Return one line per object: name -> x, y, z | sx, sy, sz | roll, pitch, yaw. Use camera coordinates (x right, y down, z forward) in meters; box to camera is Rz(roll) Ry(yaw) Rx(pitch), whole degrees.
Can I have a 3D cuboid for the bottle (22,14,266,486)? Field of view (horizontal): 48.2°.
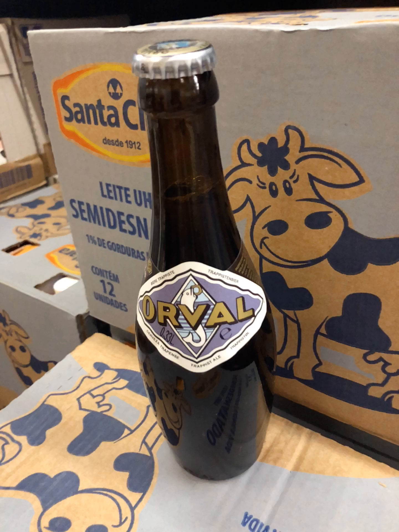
bottle -> -0.007, 0.008, 0.204 | 0.070, 0.208, 0.060 | -2, 30, 5
